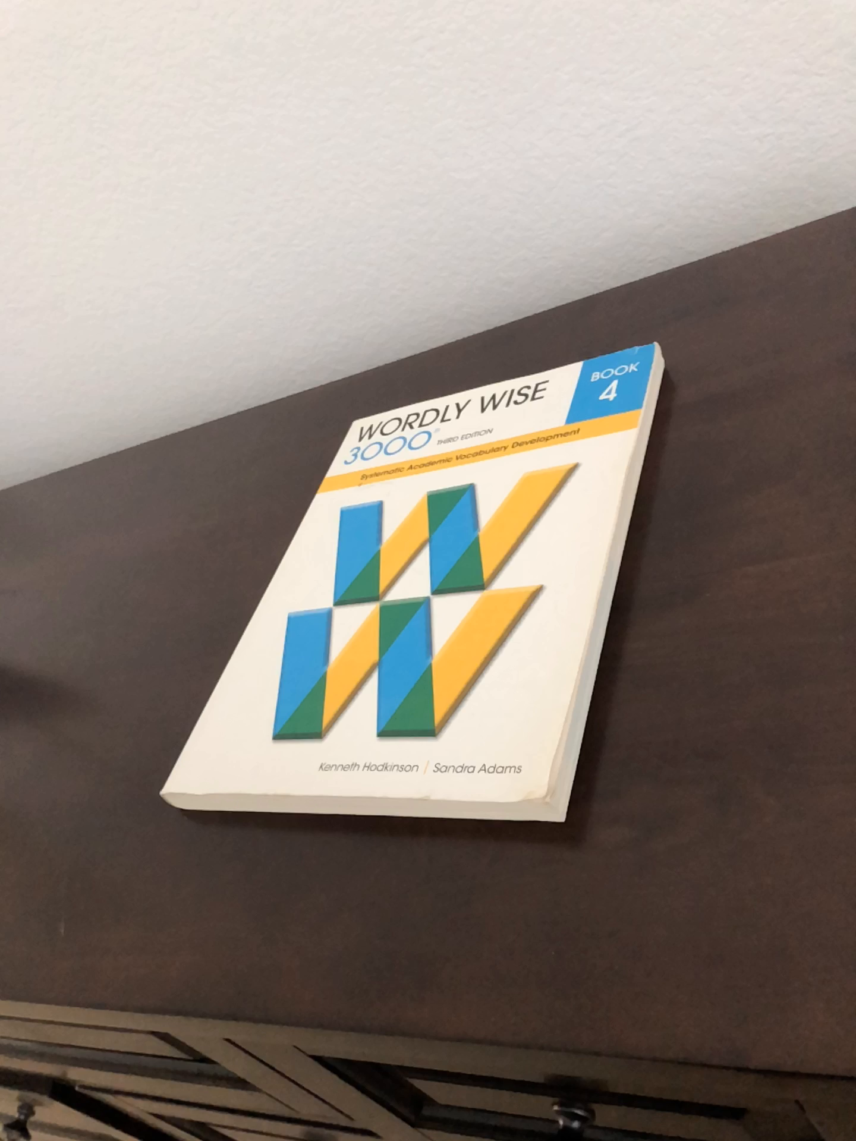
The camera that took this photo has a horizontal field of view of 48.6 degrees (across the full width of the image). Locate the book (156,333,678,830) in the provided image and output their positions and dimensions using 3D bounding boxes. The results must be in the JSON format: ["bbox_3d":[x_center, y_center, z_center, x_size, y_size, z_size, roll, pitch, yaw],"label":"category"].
[{"bbox_3d":[0.001,-0.003,0.486,0.217,0.020,0.274,-8,46,34],"label":"book"}]
